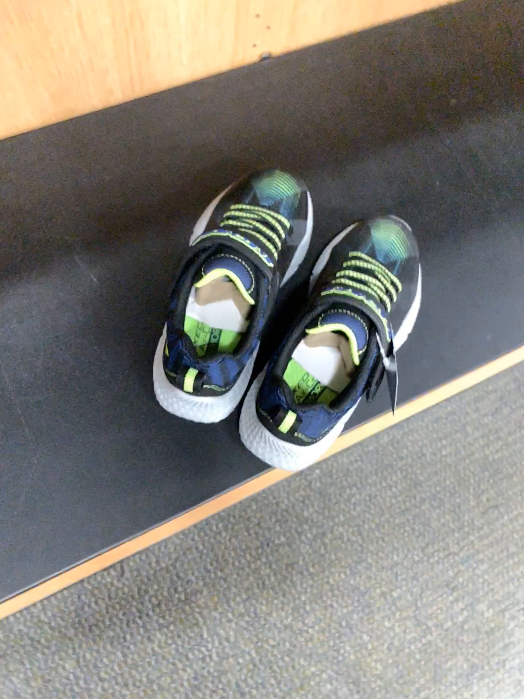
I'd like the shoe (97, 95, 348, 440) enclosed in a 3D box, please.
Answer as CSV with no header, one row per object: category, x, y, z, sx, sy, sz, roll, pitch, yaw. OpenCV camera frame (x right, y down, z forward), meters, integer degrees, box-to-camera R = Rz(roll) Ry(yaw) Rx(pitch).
shoe,-0.024,-0.058,0.411,0.092,0.100,0.220,21,72,1

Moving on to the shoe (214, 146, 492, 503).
shoe,0.062,-0.015,0.395,0.098,0.100,0.220,28,72,4
